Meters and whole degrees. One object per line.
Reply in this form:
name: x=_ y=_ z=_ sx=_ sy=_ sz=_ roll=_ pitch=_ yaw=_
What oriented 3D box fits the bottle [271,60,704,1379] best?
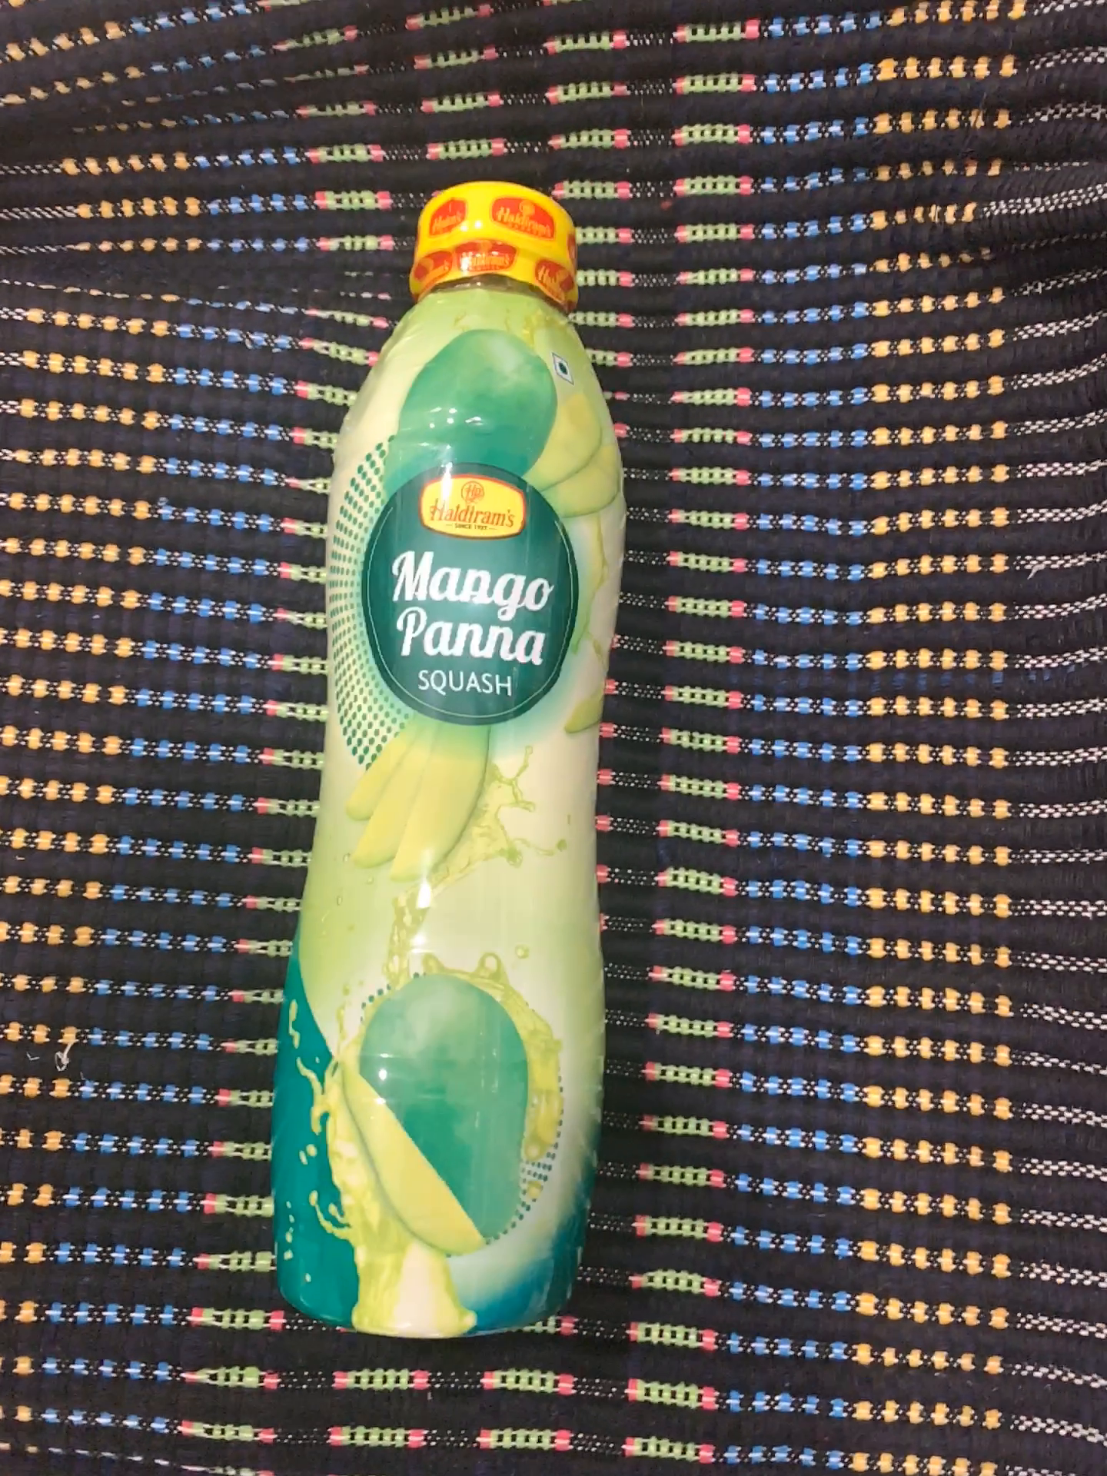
bottle: x=-0.011 y=-0.012 z=0.259 sx=0.070 sy=0.050 sz=0.270 roll=5 pitch=79 yaw=-6
